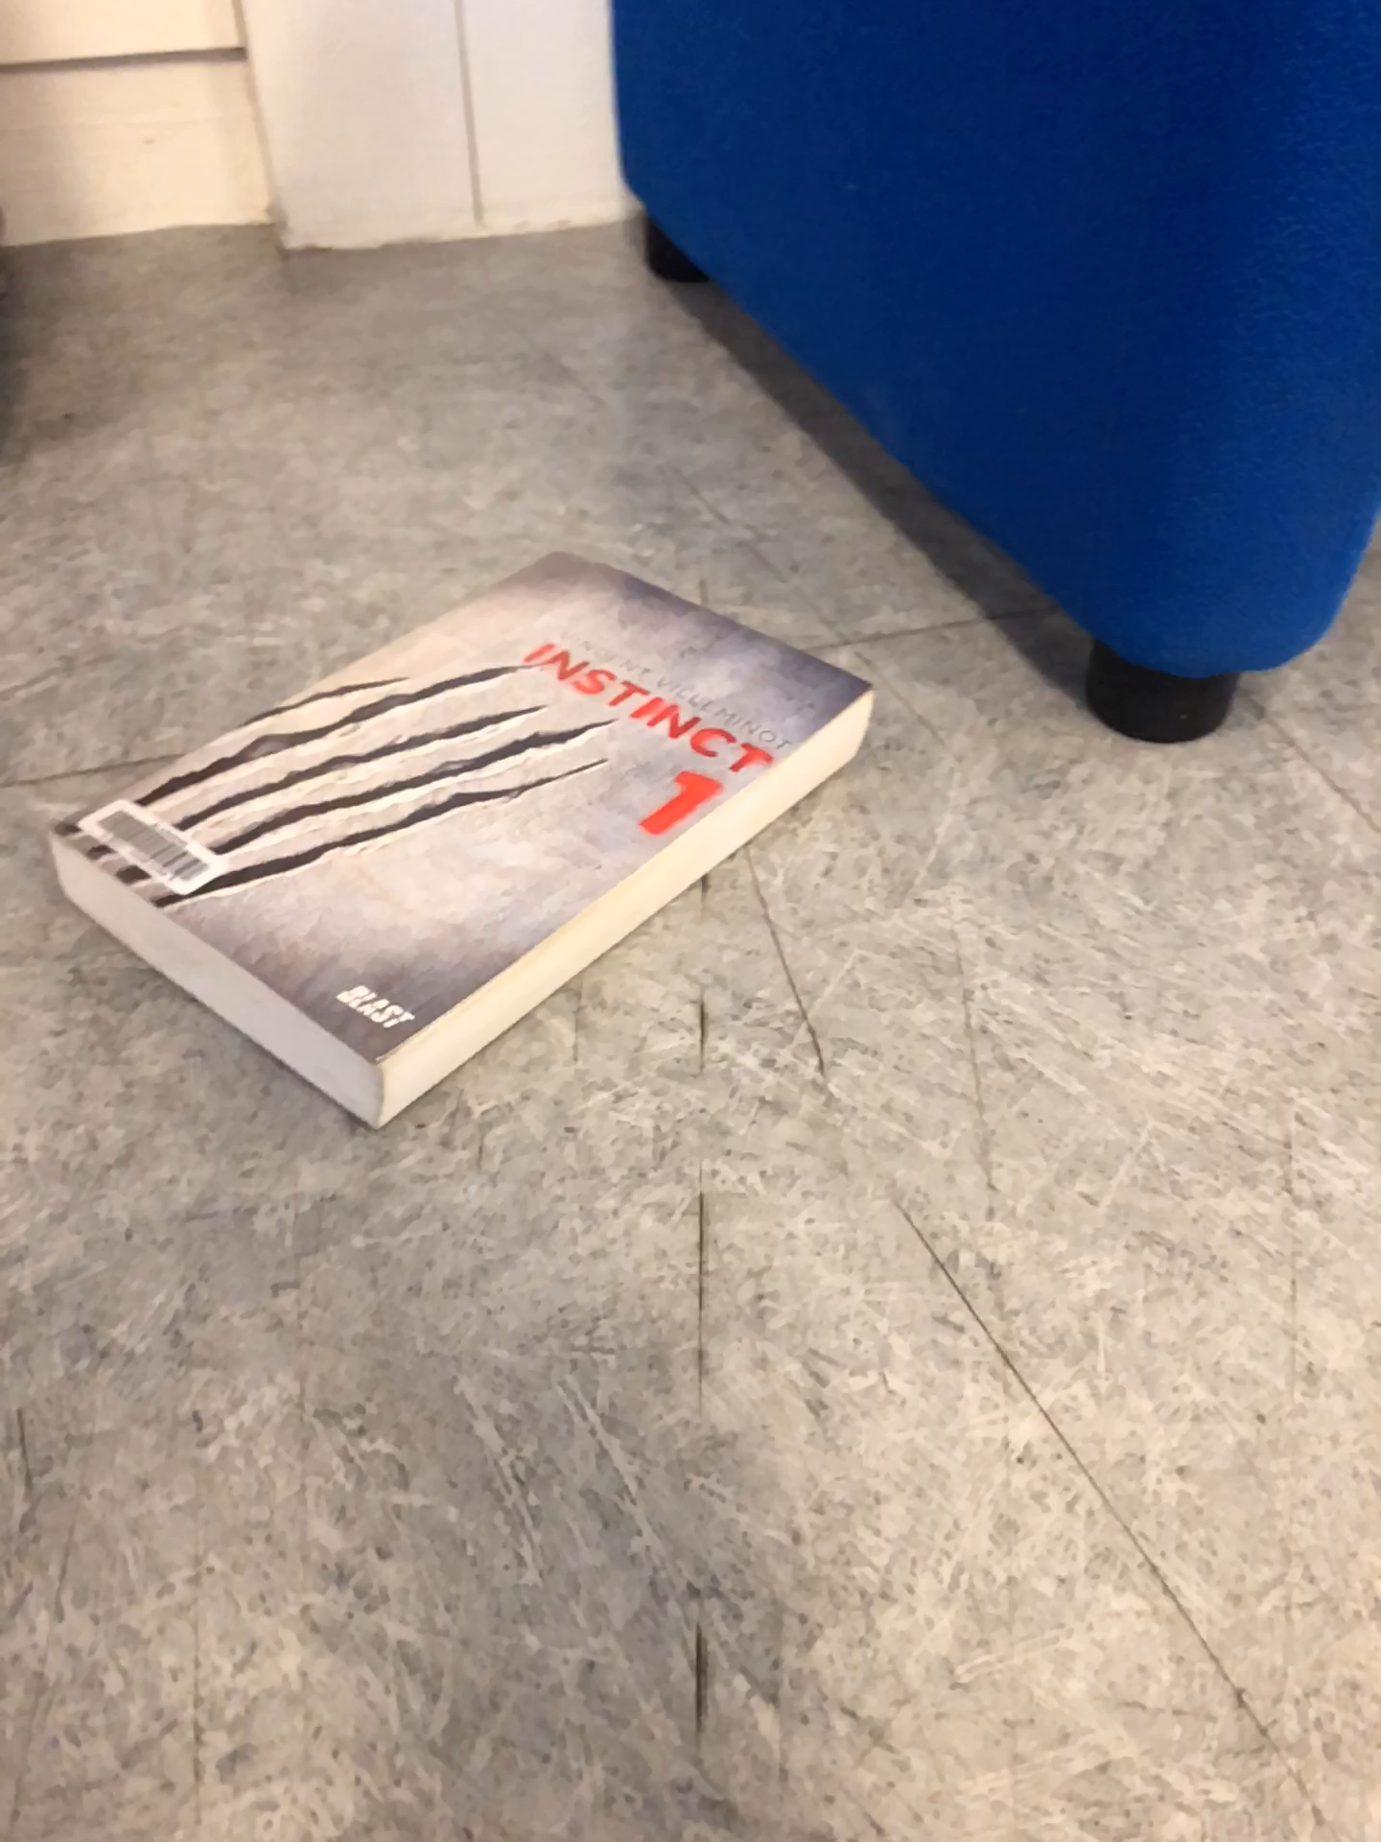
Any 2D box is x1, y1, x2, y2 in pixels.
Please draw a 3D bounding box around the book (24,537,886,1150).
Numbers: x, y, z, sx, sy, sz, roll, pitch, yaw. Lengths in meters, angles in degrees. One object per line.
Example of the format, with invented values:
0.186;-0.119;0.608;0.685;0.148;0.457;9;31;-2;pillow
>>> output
-0.061;-0.040;0.454;0.142;0.028;0.211;29;50;28;book
